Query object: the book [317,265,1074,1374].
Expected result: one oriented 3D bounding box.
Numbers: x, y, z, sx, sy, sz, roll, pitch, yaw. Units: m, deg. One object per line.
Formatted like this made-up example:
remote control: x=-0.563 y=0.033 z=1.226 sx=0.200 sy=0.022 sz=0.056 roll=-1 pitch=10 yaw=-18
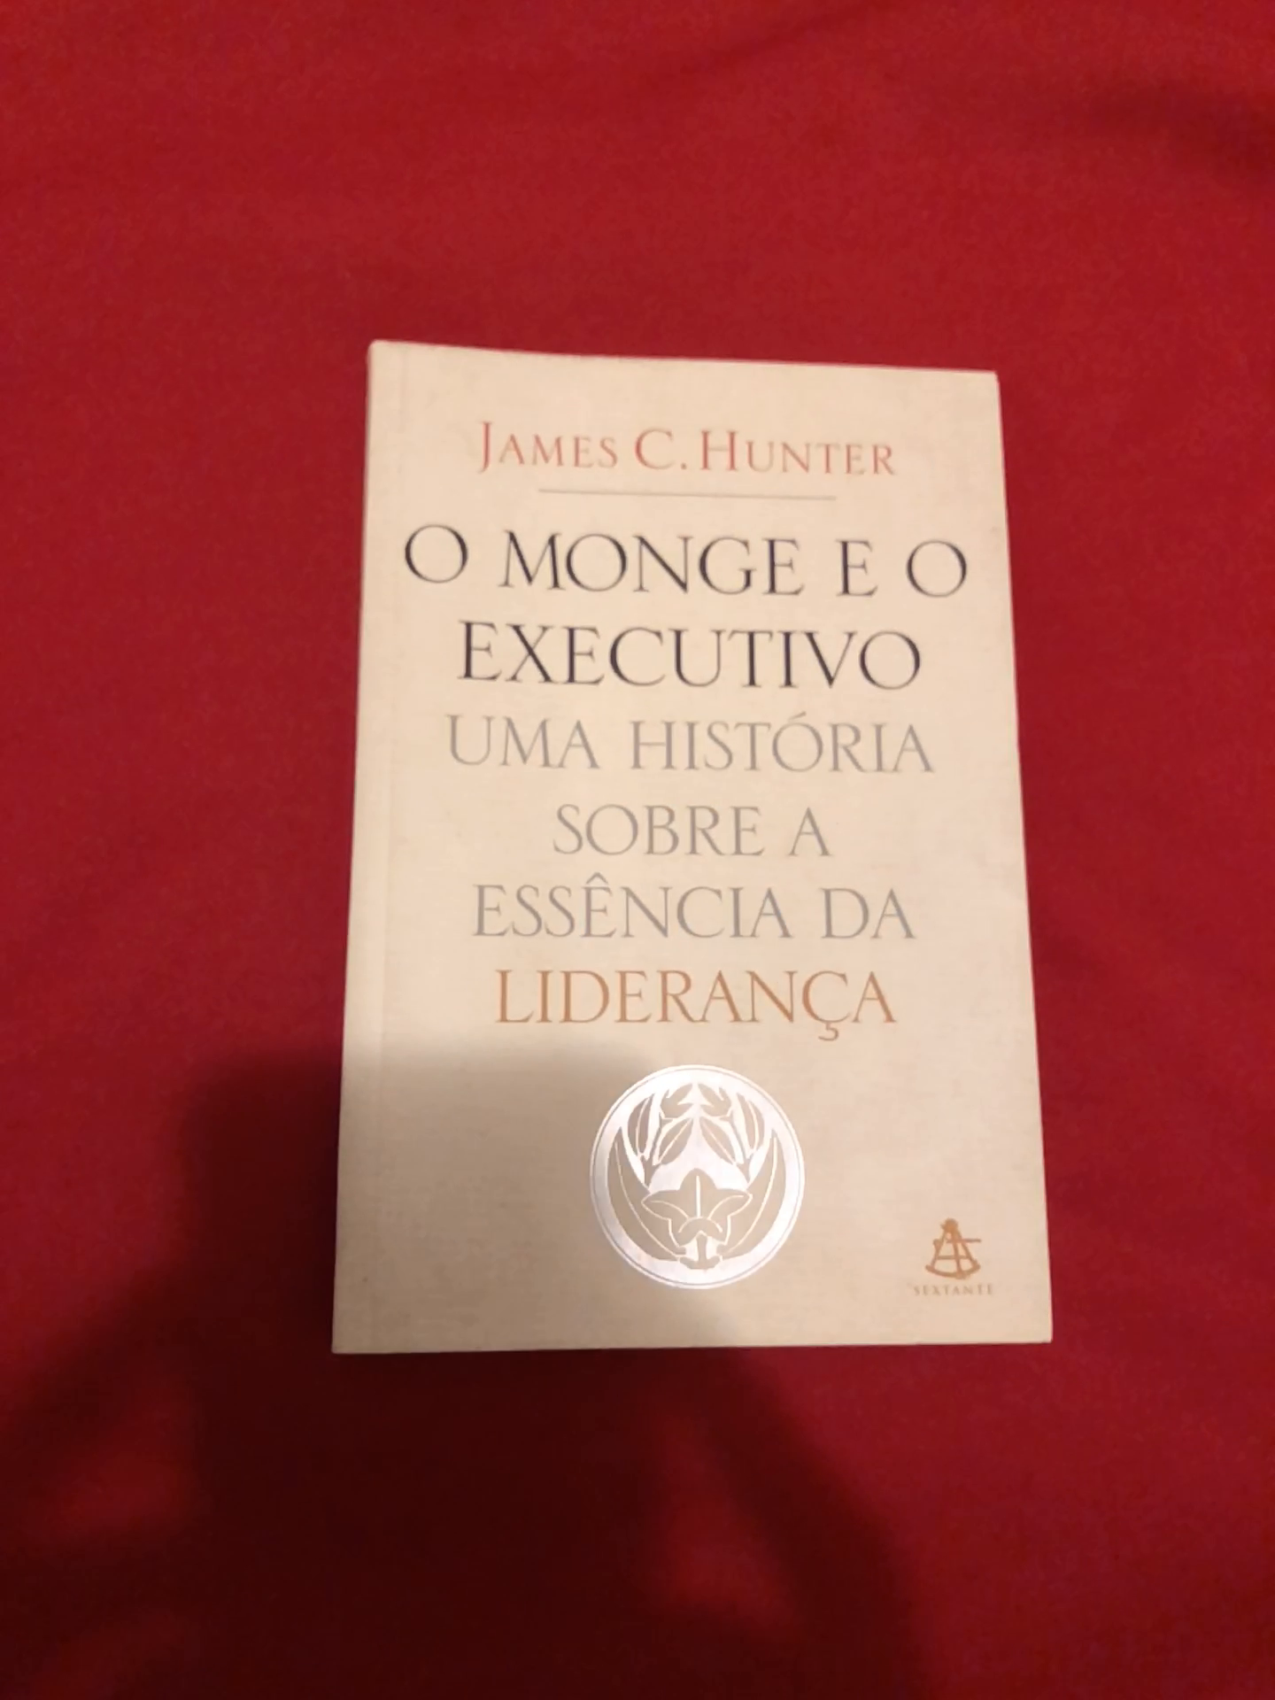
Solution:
book: x=0.011 y=-0.010 z=0.297 sx=0.140 sy=0.030 sz=0.220 roll=2 pitch=77 yaw=-7
